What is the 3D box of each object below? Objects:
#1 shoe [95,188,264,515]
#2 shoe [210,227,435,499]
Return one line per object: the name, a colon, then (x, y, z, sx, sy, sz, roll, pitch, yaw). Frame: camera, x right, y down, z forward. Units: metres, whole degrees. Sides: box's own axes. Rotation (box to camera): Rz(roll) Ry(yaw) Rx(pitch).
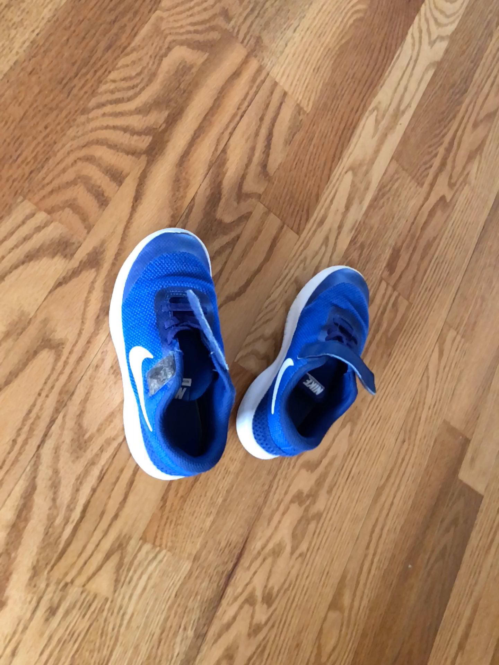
shoe: (-0.055, 0.015, 0.422, 0.093, 0.092, 0.214, 4, 86, -31)
shoe: (0.070, 0.024, 0.506, 0.093, 0.092, 0.214, 37, 70, -25)
